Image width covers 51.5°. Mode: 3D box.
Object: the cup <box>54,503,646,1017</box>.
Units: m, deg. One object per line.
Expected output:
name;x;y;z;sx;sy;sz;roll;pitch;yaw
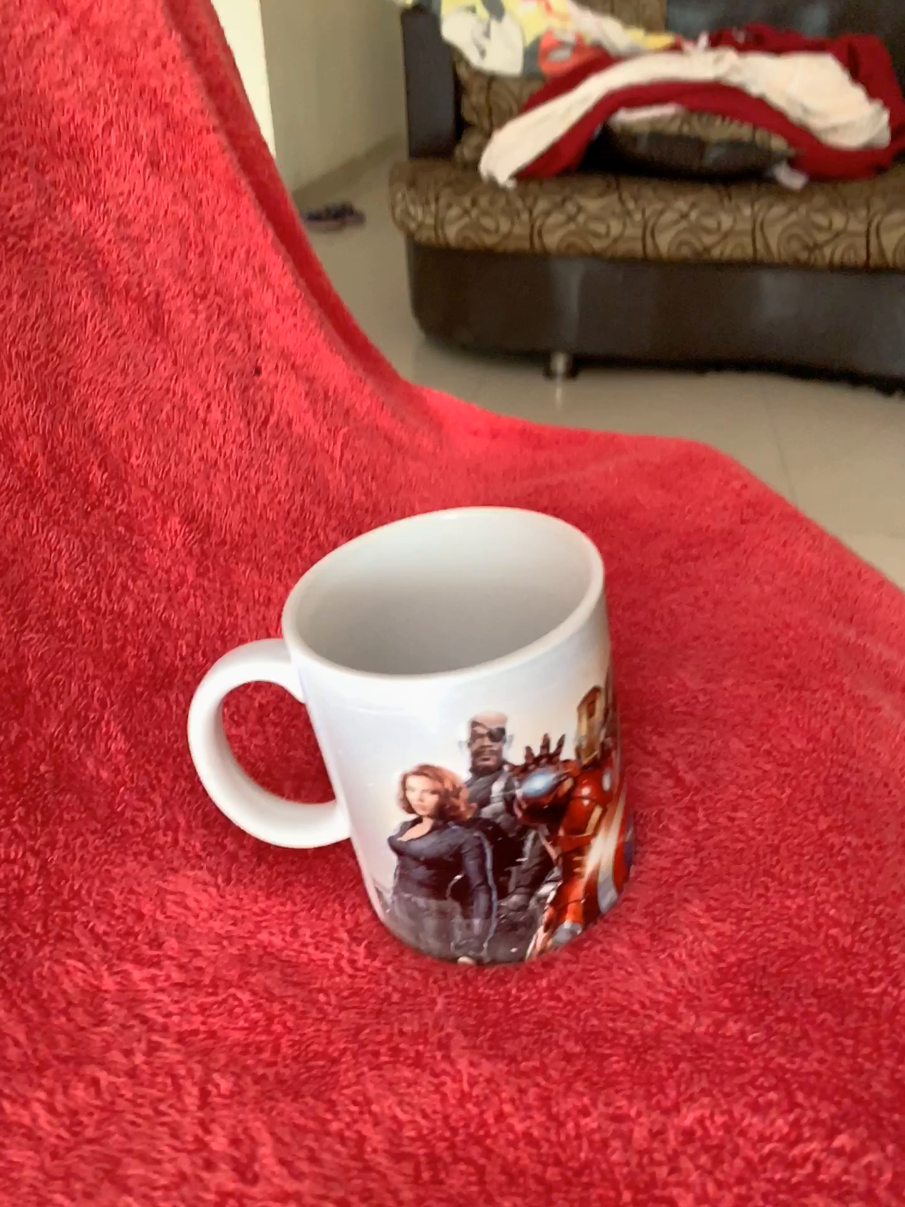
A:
cup;-0.013;0.036;0.247;0.120;0.089;0.091;-2;28;11
